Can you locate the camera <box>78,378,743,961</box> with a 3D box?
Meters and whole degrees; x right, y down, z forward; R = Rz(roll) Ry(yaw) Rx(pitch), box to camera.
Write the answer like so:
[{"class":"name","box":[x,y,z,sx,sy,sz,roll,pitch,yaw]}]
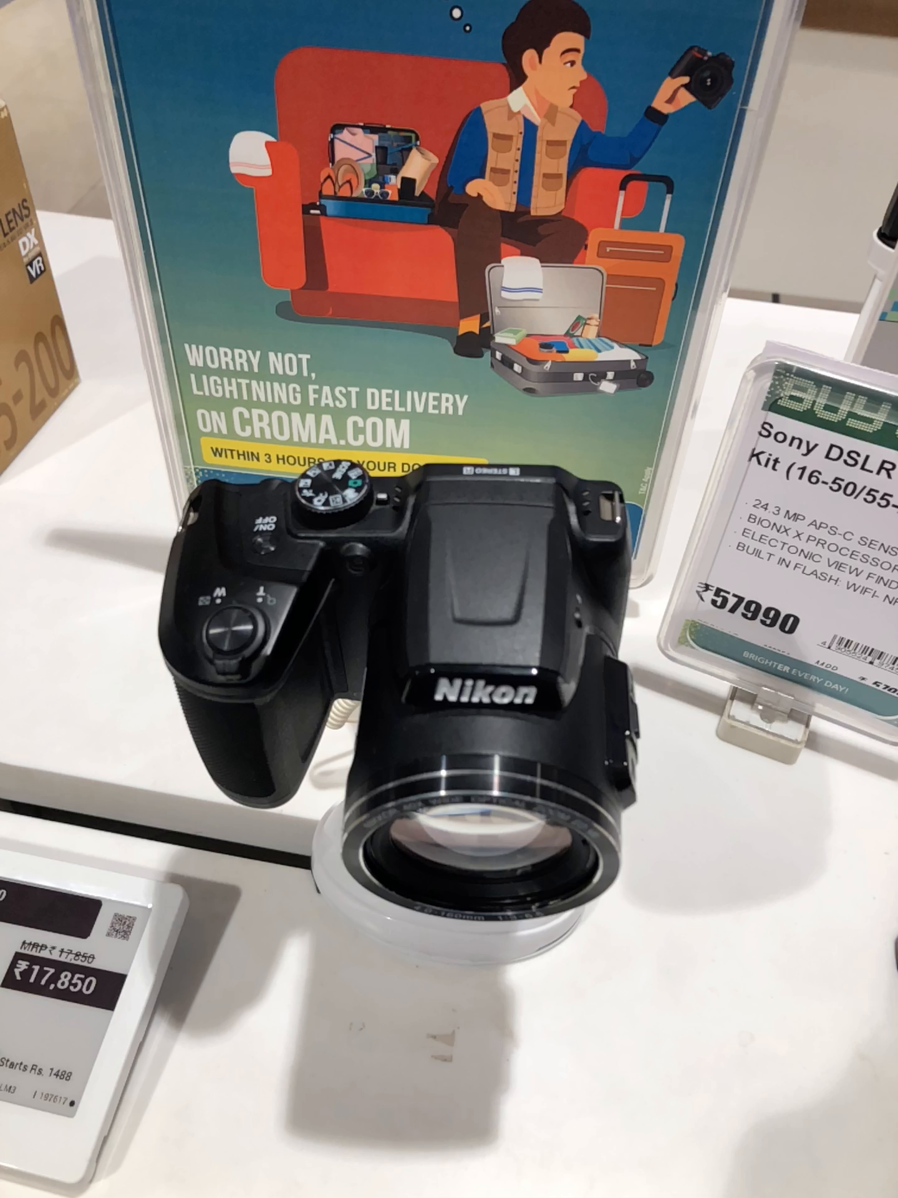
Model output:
[{"class":"camera","box":[-0.006,0.012,0.228,0.110,0.070,0.111,2,46,-1]}]
